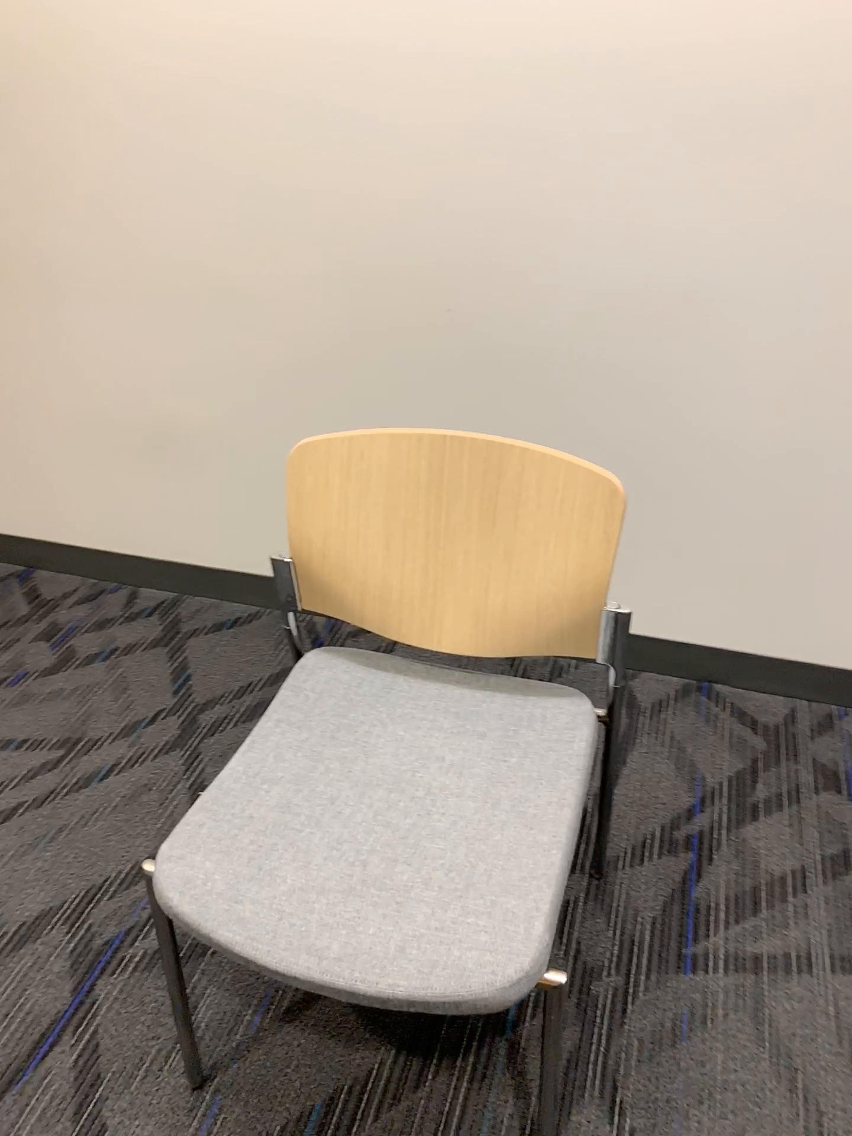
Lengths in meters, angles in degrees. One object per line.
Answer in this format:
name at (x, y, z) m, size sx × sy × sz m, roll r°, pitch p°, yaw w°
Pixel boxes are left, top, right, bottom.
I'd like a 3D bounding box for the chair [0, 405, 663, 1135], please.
chair at (-0.052, 0.256, 1.062) m, size 0.554 × 0.704 × 0.540 m, roll 8°, pitch 33°, yaw 16°
